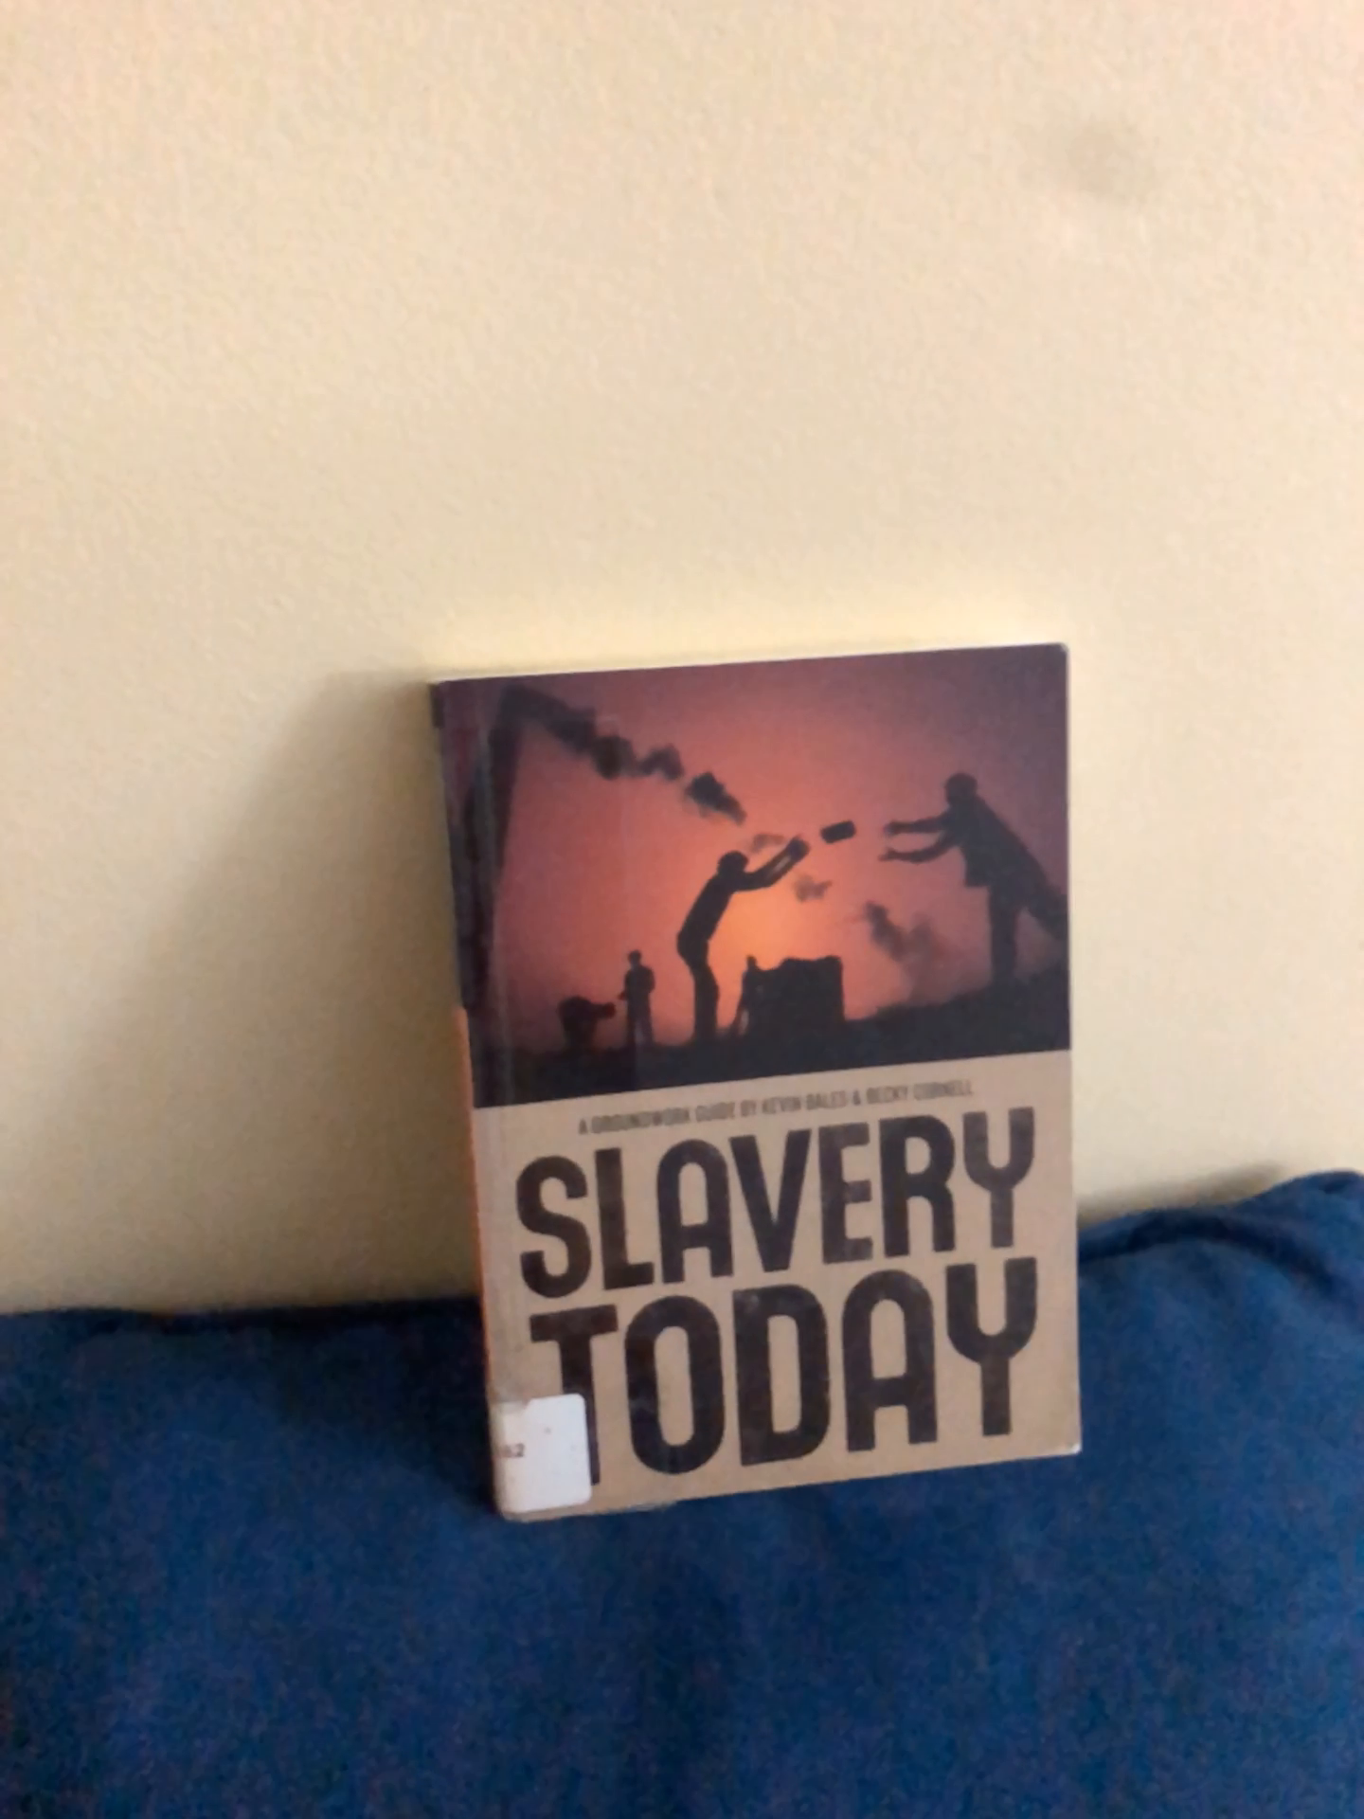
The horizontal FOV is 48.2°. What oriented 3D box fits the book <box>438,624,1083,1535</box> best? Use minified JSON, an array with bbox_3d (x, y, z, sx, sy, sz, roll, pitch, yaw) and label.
[{"bbox_3d":[0.019,0.034,0.328,0.127,0.182,0.028,-4,9,-8],"label":"book"}]
